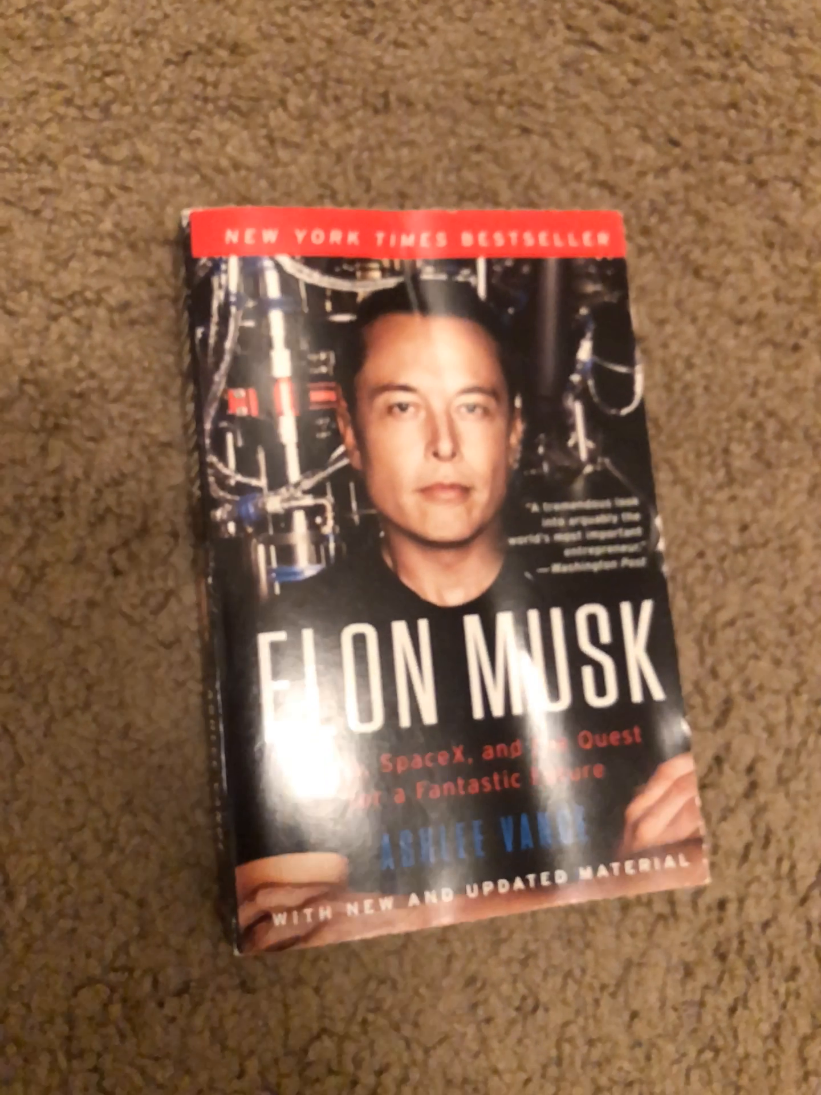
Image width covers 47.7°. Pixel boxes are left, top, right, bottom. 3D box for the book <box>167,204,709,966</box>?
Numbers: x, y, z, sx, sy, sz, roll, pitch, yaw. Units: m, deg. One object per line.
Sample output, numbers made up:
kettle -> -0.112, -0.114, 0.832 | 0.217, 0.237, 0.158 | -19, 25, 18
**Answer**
book -> 0.005, 0.003, 0.274 | 0.136, 0.033, 0.202 | -4, 84, -11
